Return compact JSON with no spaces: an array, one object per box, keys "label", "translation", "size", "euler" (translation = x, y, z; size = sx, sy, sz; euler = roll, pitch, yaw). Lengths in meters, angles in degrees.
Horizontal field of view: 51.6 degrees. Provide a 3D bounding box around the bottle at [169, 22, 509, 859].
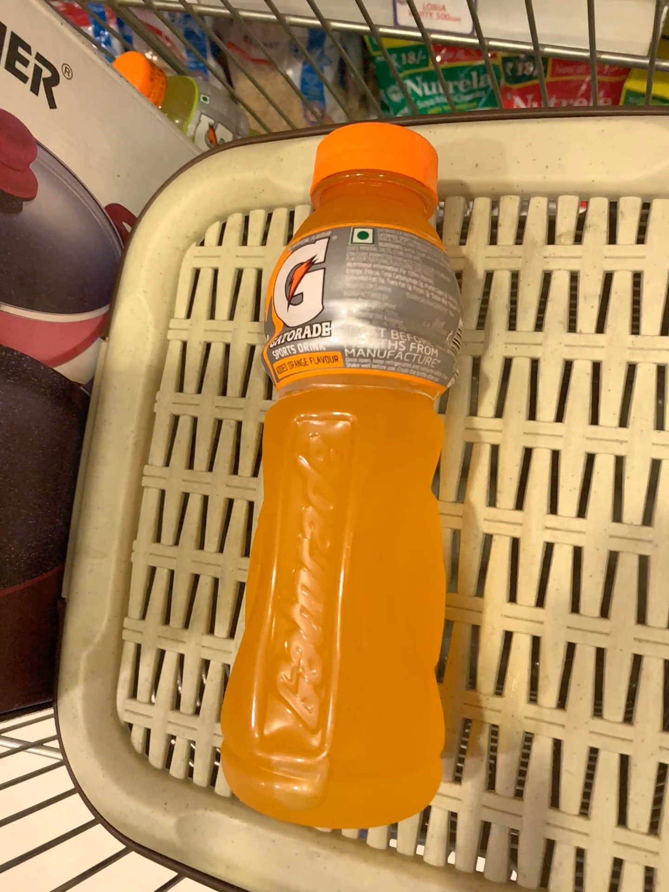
[{"label":"bottle","translation":[0.004,-0.004,0.213],"size":[0.060,0.060,0.210],"euler":[-2,79,48]}]
